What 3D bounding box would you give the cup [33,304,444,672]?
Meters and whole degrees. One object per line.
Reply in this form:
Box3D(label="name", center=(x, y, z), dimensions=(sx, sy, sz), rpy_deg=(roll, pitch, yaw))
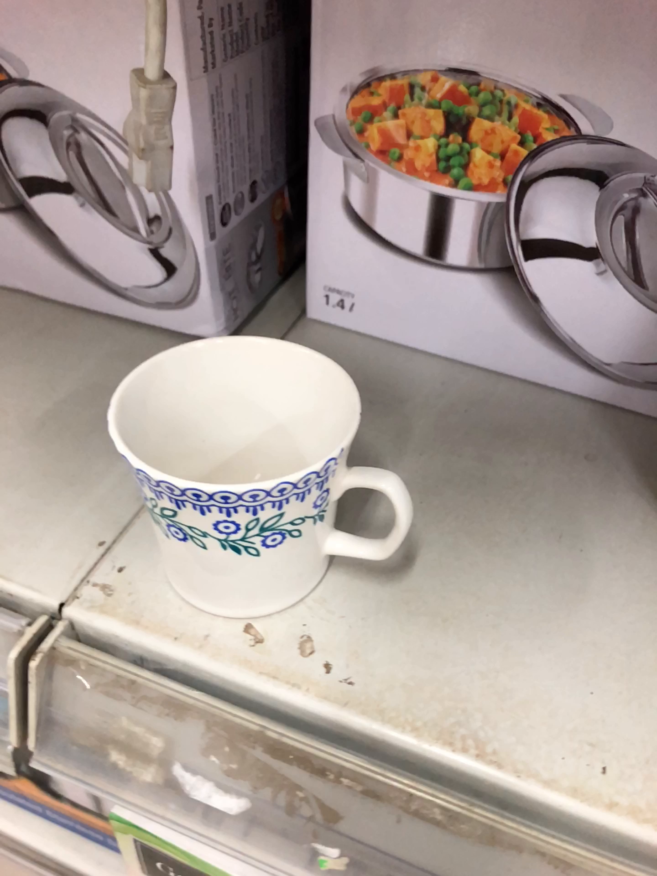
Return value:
Box3D(label="cup", center=(-0.023, 0.013, 0.237), dimensions=(0.100, 0.070, 0.071), rpy_deg=(12, 42, 11))
